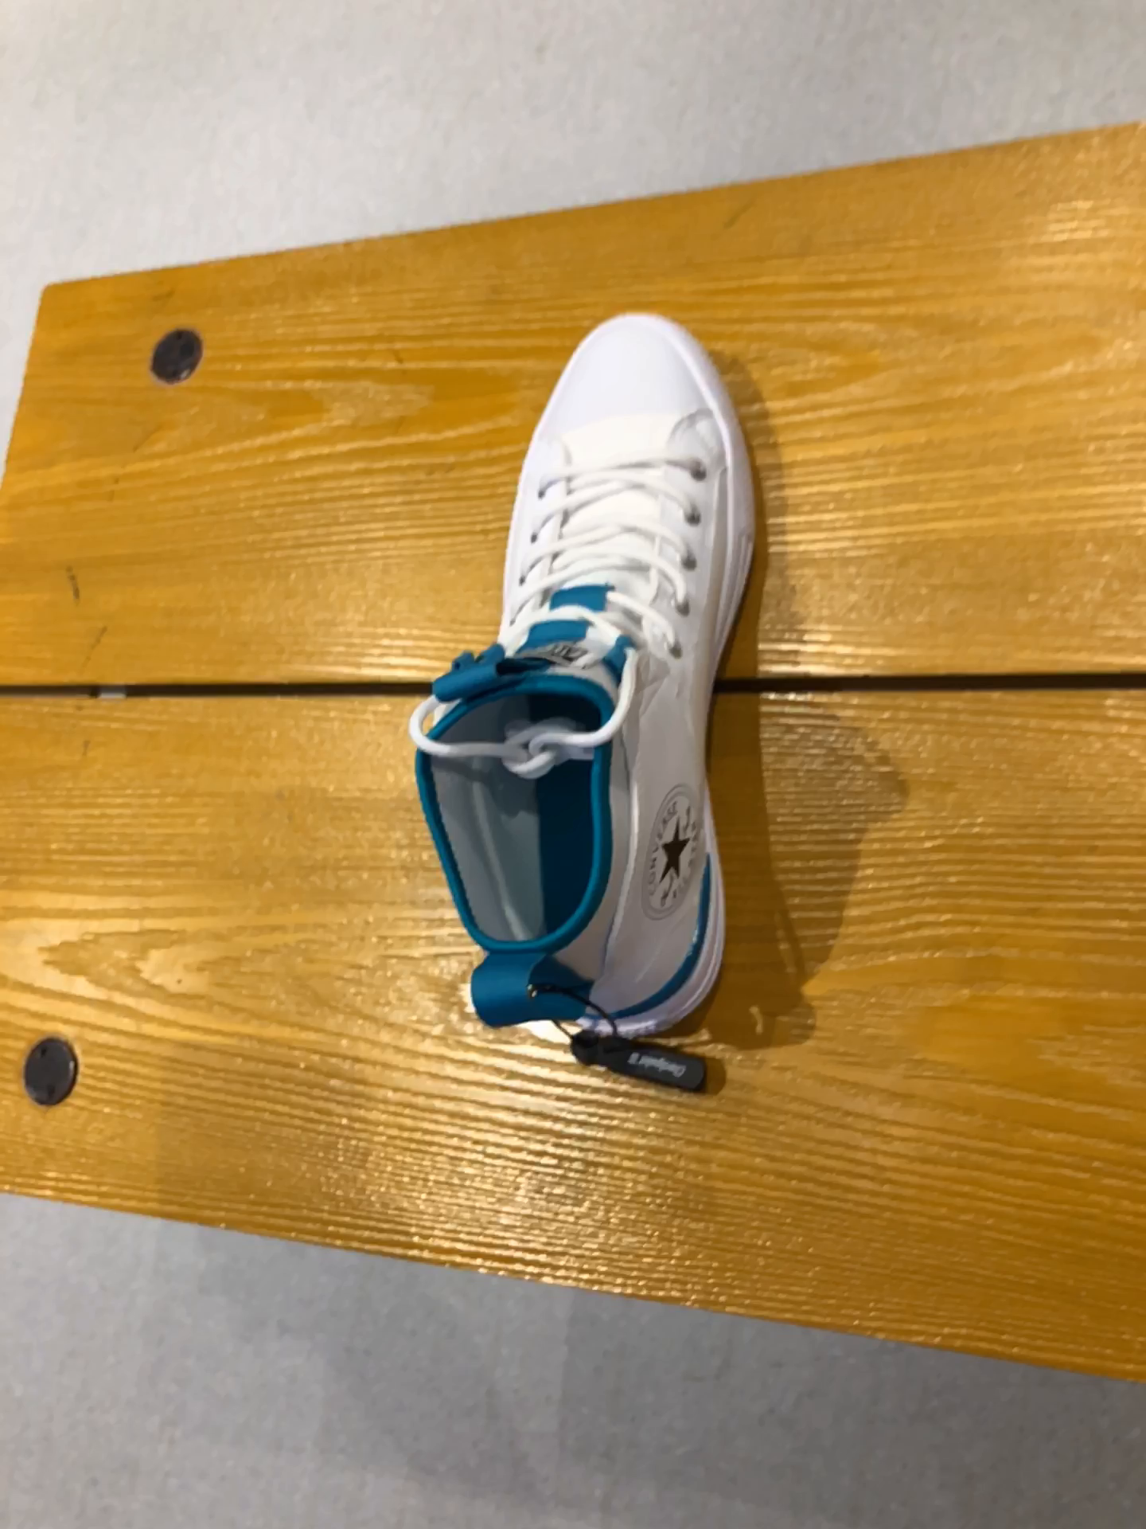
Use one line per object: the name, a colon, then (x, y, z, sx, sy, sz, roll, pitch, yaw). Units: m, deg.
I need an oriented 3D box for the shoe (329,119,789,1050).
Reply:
shoe: (0.006, -0.046, 0.470, 0.108, 0.158, 0.294, -5, 75, 19)
